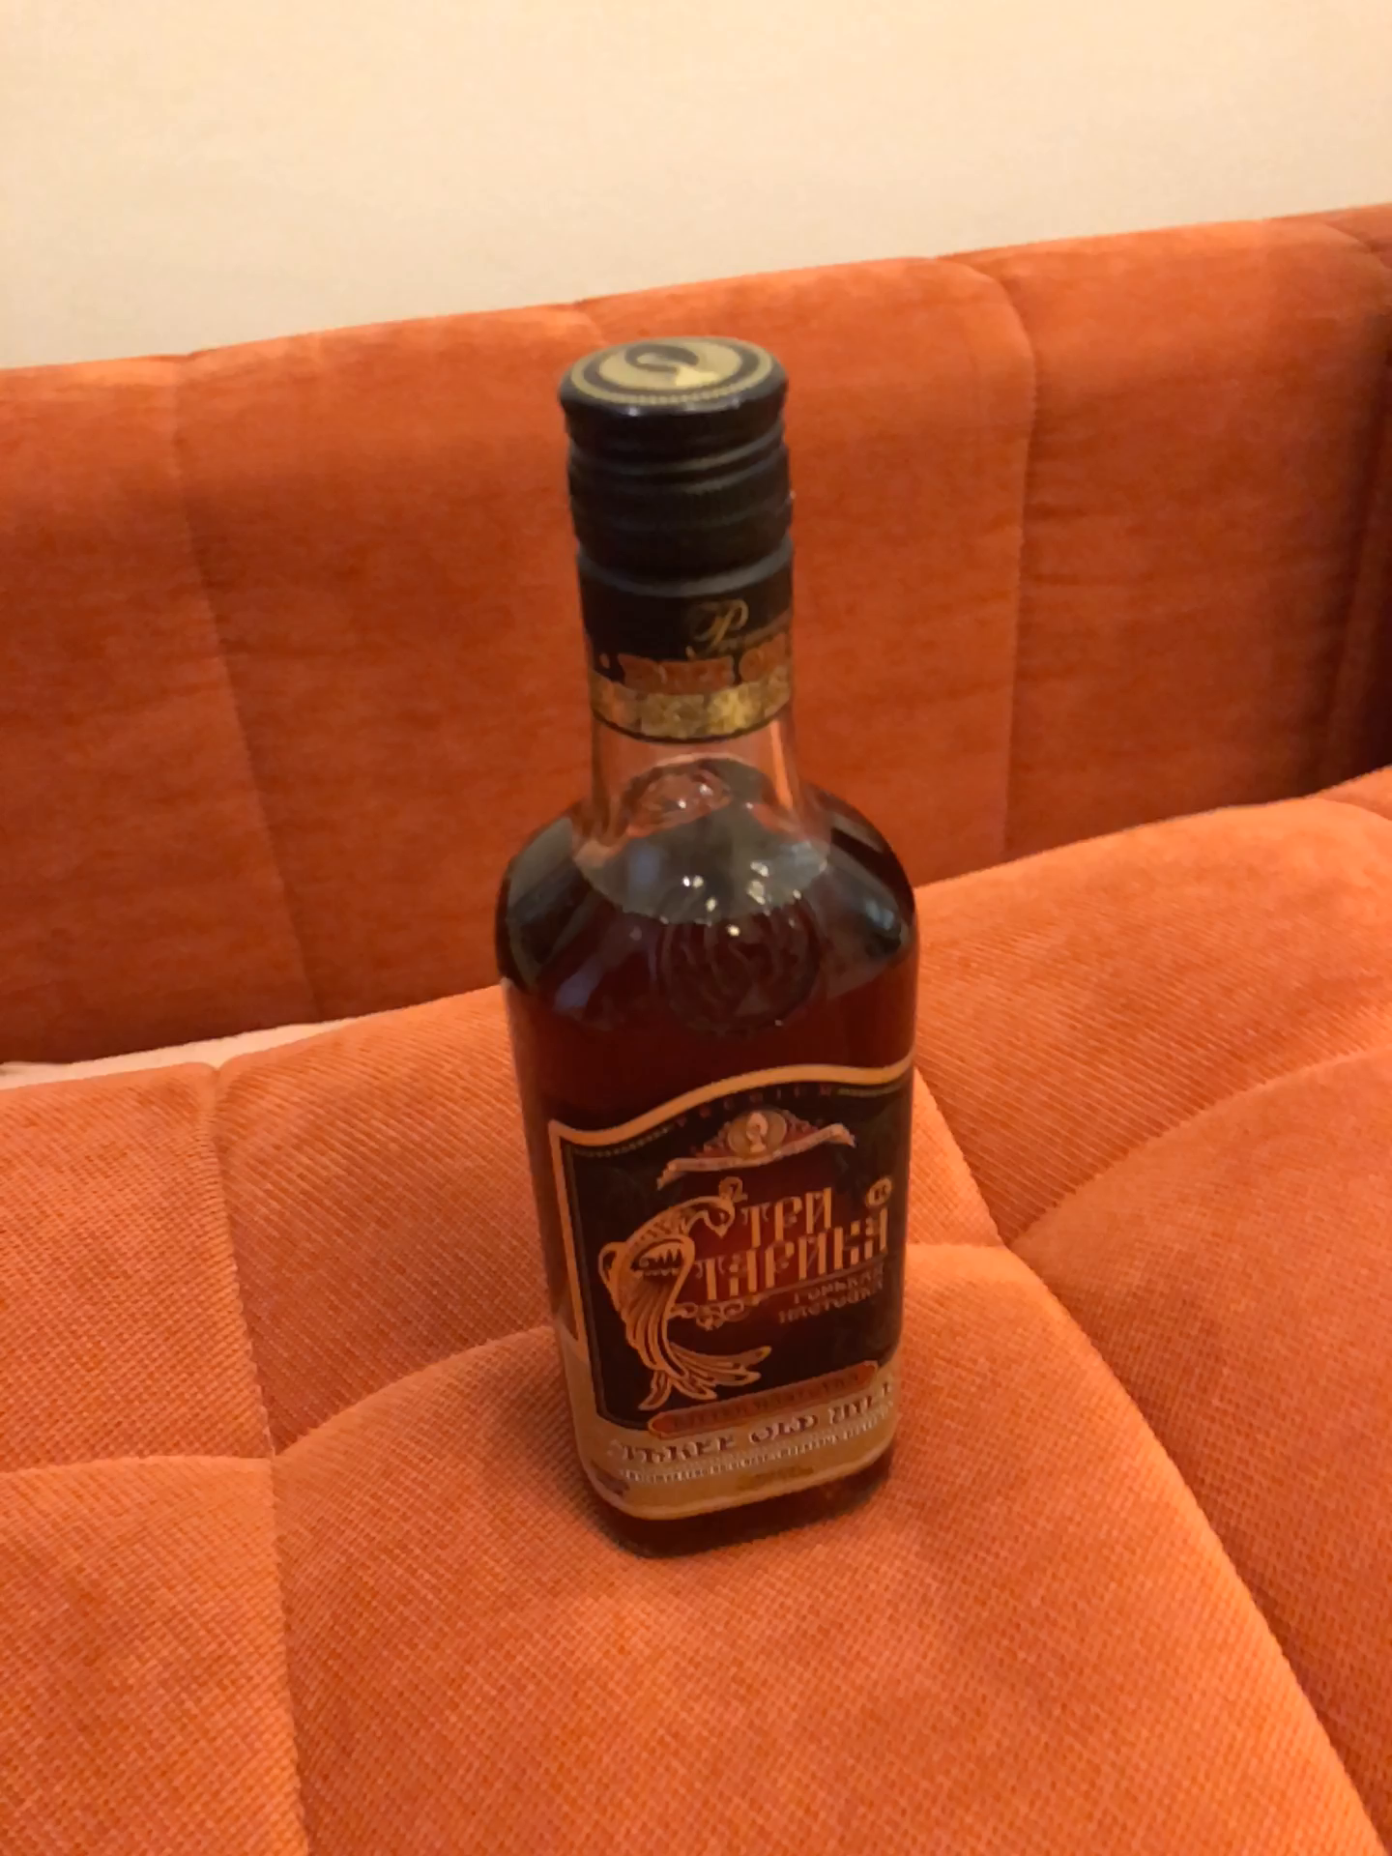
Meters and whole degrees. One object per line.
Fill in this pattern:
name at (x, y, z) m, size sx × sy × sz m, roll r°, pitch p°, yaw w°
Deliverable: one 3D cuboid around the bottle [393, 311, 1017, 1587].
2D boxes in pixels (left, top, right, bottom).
bottle at (0.004, 0.022, 0.281) m, size 0.074 × 0.237 × 0.057 m, roll -11°, pitch 38°, yaw -10°
